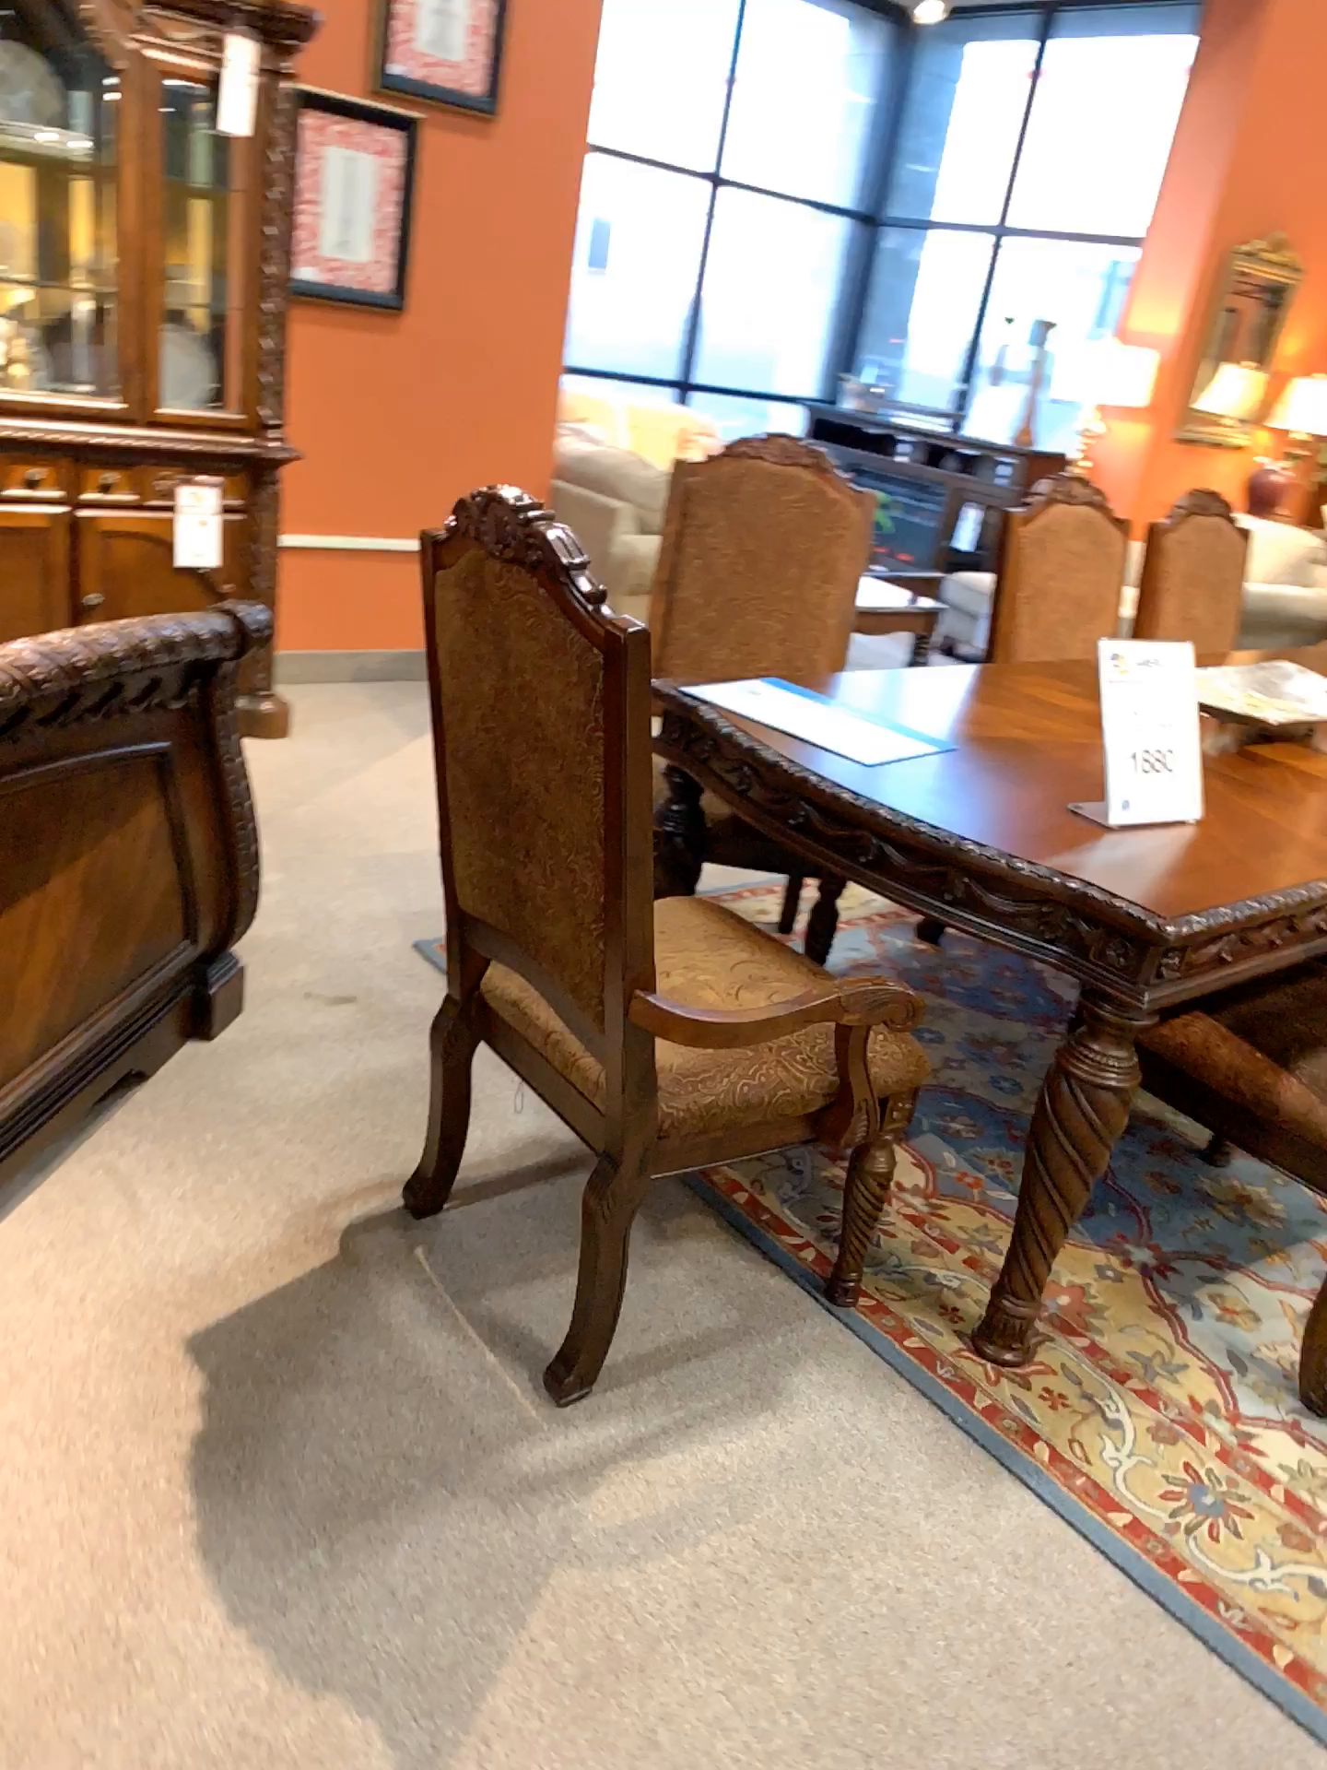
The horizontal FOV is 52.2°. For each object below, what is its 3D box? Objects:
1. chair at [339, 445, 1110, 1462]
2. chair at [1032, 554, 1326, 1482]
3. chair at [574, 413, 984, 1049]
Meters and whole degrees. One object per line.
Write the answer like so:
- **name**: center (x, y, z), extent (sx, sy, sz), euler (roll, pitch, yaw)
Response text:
- **chair**: center (0.023, 0.048, 1.879), extent (0.671, 1.124, 0.585), euler (-7, 28, -36)
- **chair**: center (1.123, 0.151, 2.045), extent (0.564, 1.134, 0.621), euler (-7, 27, -36)
- **chair**: center (0.228, -0.366, 3.019), extent (0.603, 1.183, 0.672), euler (10, 22, 2)
